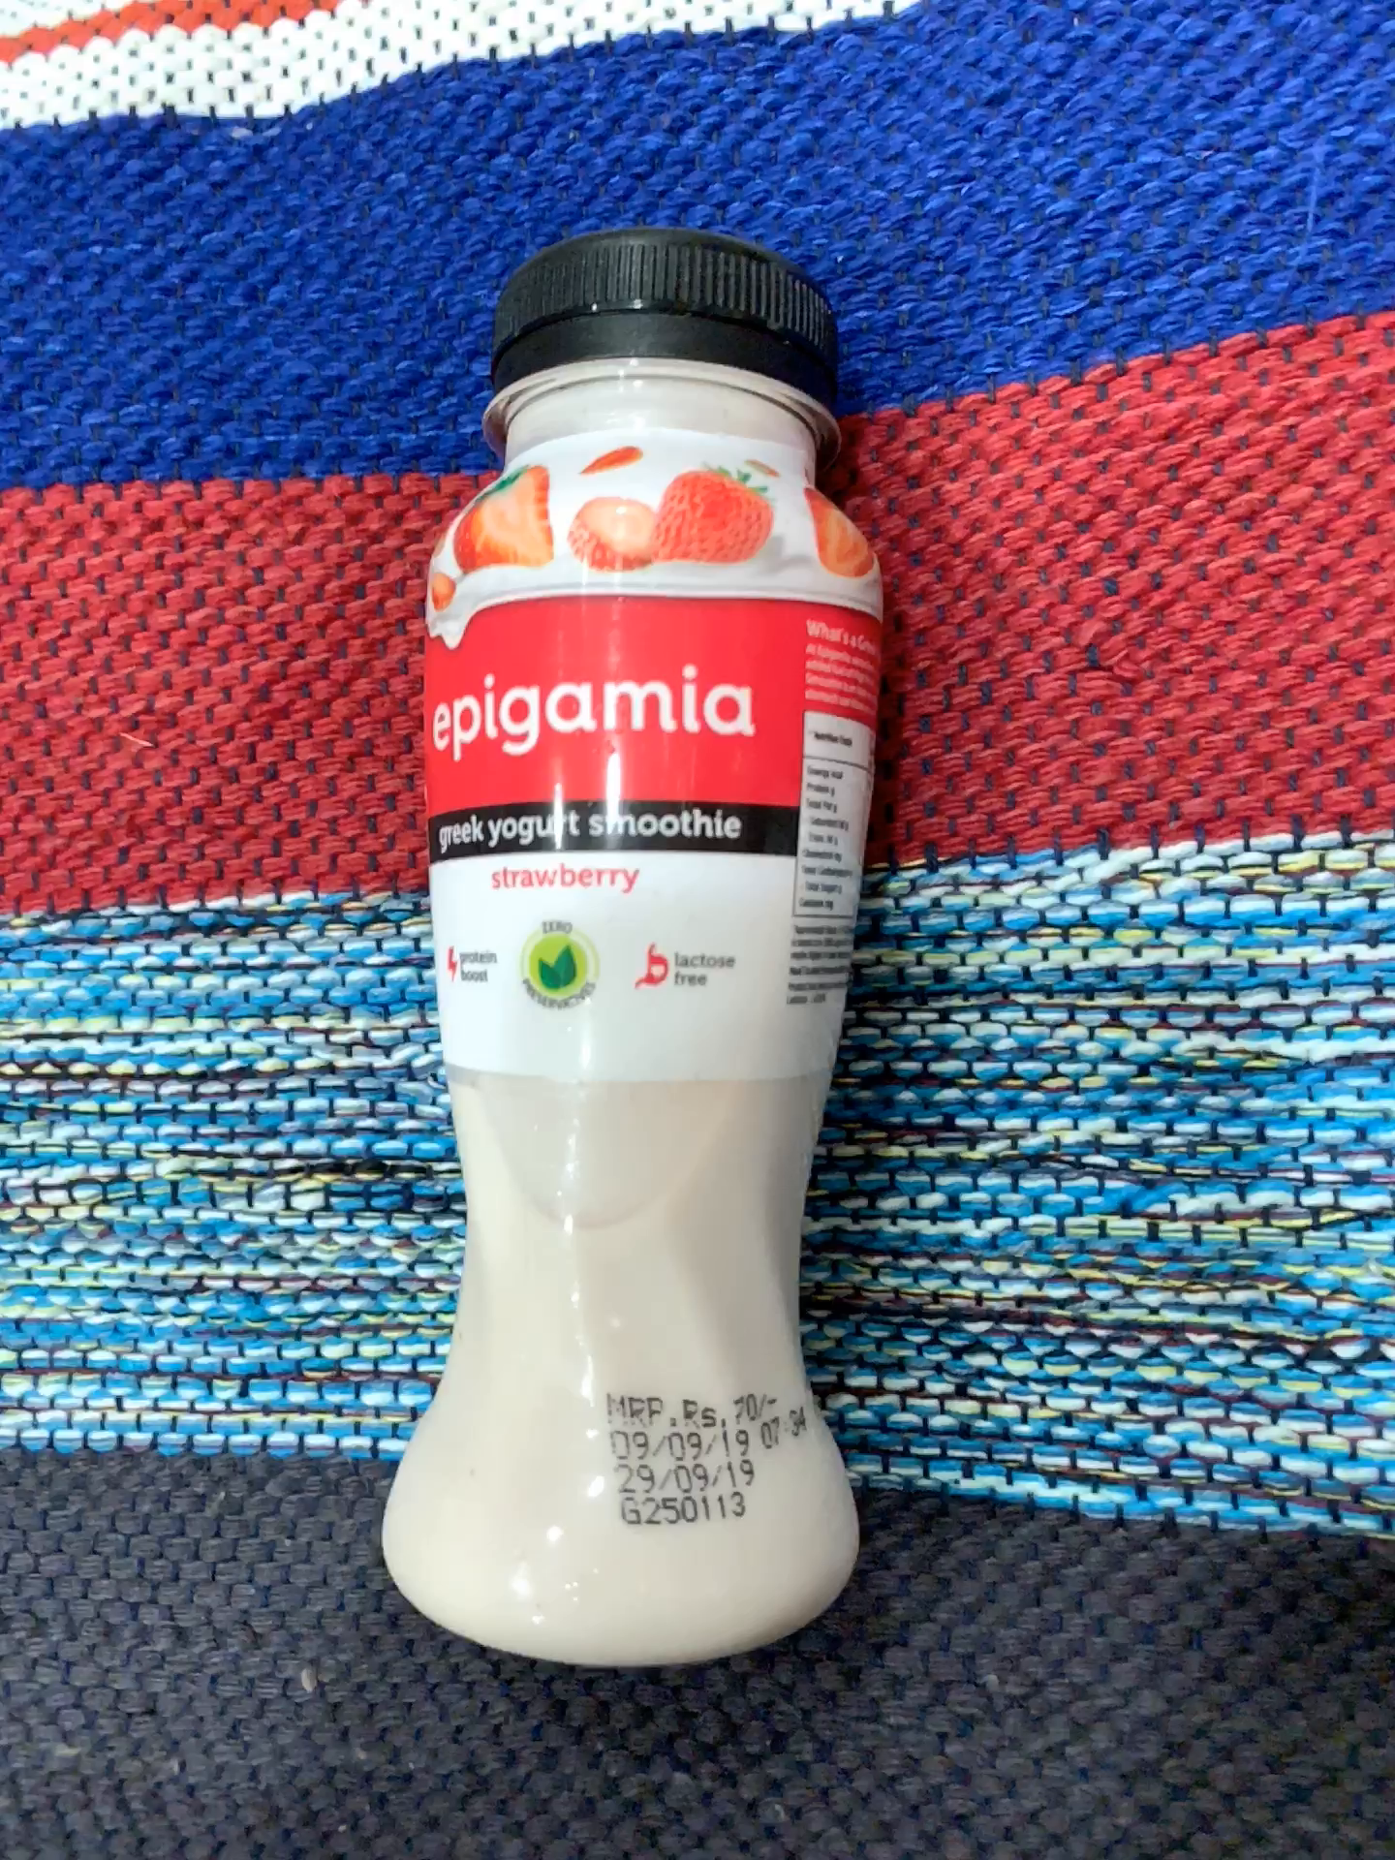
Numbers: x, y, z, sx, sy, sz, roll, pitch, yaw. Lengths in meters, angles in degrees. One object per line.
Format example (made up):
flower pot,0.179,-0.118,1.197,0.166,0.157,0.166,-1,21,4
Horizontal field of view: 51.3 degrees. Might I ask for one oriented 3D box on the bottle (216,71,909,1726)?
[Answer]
bottle,-0.009,-0.006,0.170,0.060,0.050,0.160,1,83,13
